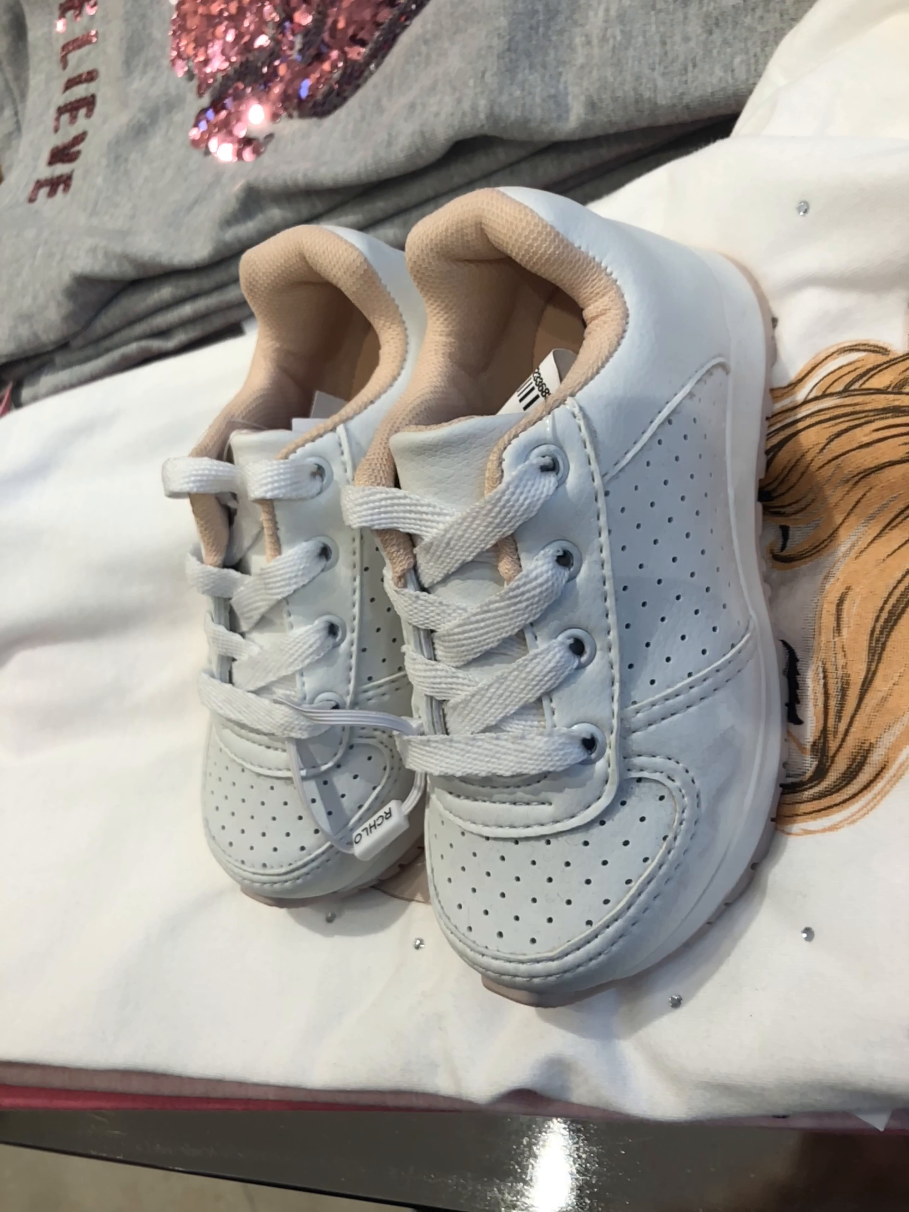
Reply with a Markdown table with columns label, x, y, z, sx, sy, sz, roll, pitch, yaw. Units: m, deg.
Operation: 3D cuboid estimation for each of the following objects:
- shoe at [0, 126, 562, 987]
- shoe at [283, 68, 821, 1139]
| label | x | y | z | sx | sy | sz | roll | pitch | yaw |
| --- | --- | --- | --- | --- | --- | --- | --- | --- | --- |
| shoe | -0.039 | -0.013 | 0.232 | 0.080 | 0.060 | 0.160 | 10 | 89 | 30 |
| shoe | 0.022 | -0.001 | 0.197 | 0.080 | 0.060 | 0.160 | 0 | 84 | 29 |
